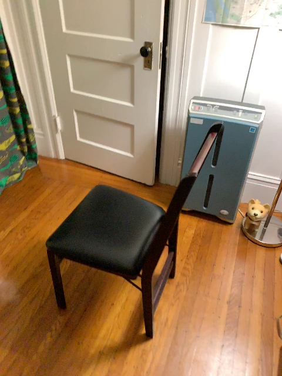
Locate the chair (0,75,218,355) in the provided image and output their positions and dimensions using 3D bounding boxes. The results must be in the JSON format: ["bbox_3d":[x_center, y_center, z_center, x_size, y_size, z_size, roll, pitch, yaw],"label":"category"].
[{"bbox_3d":[-0.090,0.108,1.119,0.551,0.865,0.492,13,39,15],"label":"chair"}]
